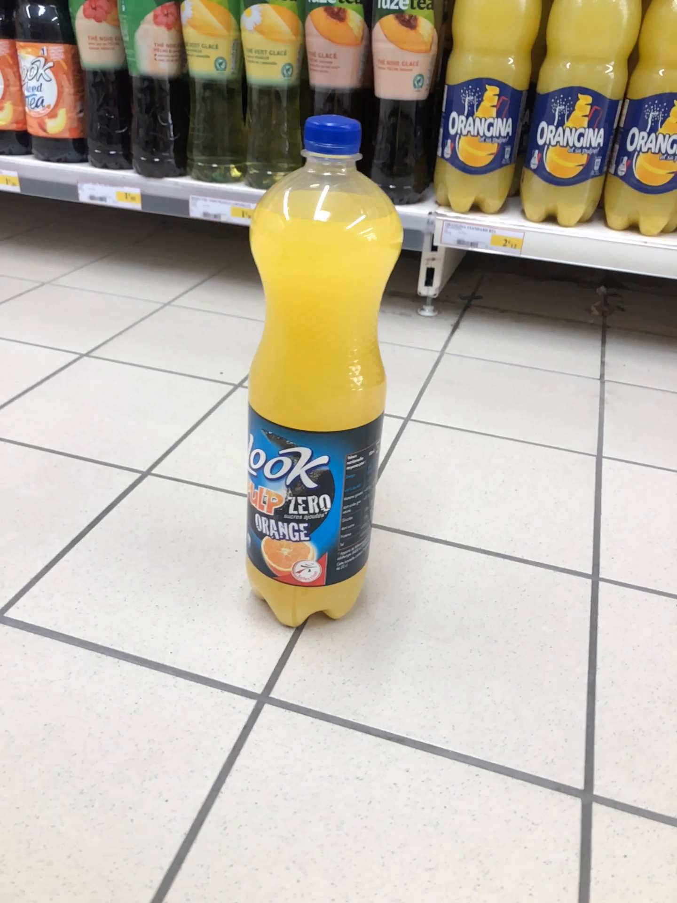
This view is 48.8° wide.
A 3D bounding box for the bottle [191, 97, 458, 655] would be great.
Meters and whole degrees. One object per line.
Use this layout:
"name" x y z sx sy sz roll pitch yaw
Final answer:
"bottle" -0.015 -0.041 0.469 0.100 0.318 0.101 3 29 -2
